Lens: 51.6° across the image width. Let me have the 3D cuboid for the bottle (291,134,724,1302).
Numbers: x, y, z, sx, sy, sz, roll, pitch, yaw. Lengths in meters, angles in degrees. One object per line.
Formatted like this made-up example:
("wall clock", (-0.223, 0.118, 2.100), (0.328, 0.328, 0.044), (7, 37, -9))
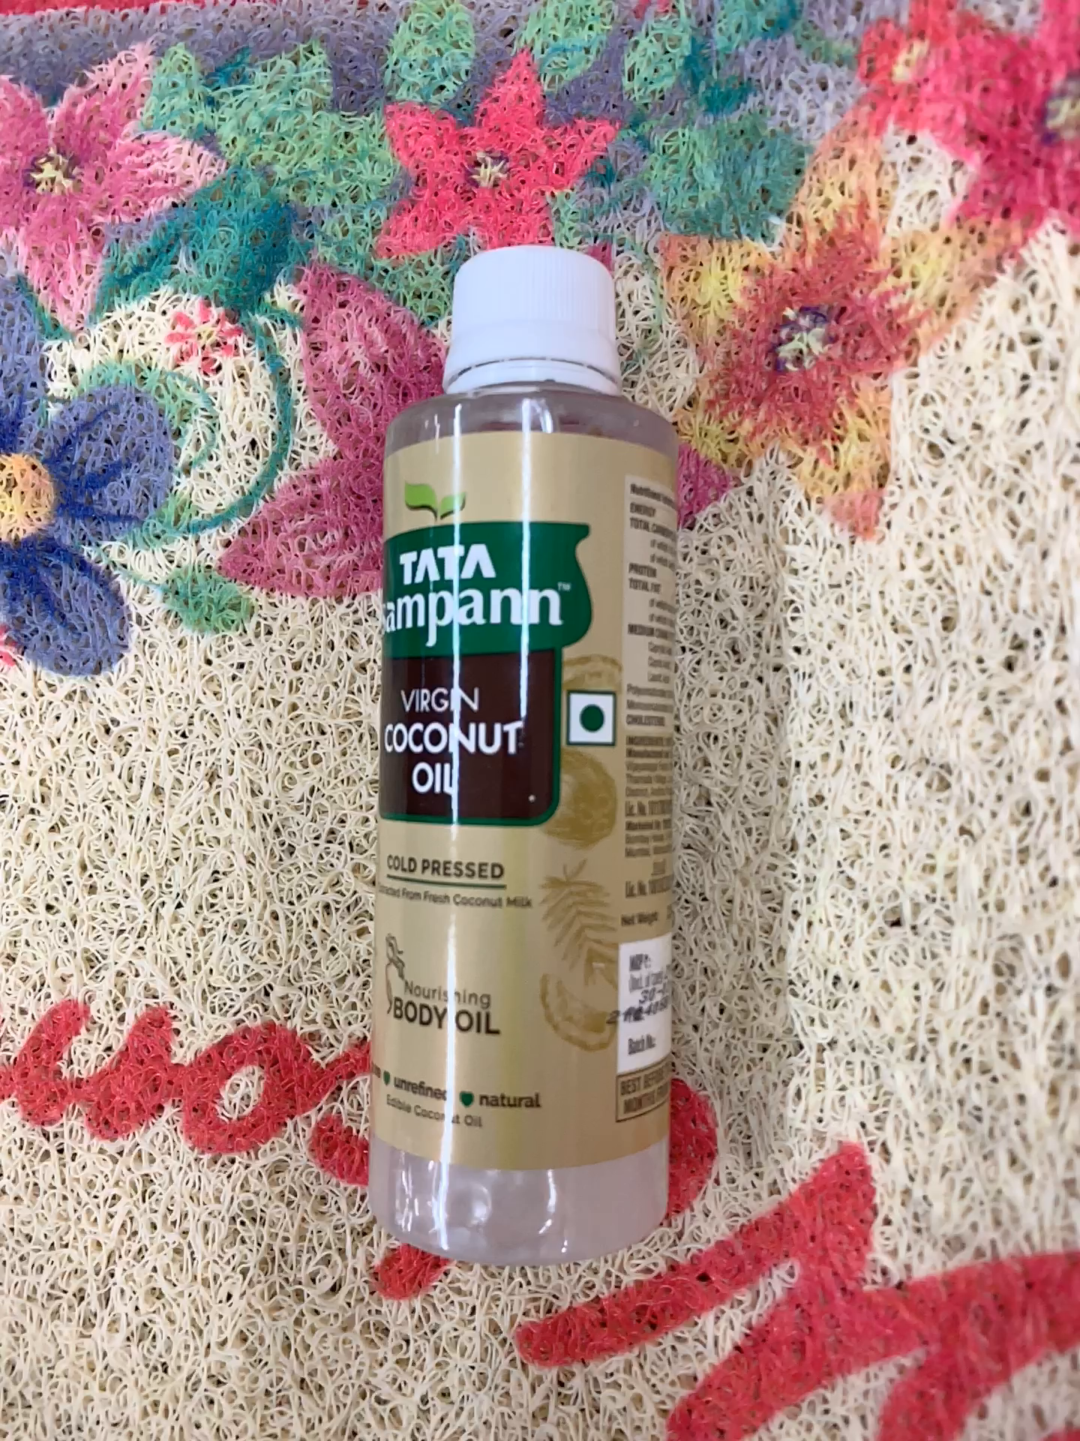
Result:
("bottle", (-0.004, -0.001, 0.158), (0.050, 0.030, 0.140), (1, 89, 26))
